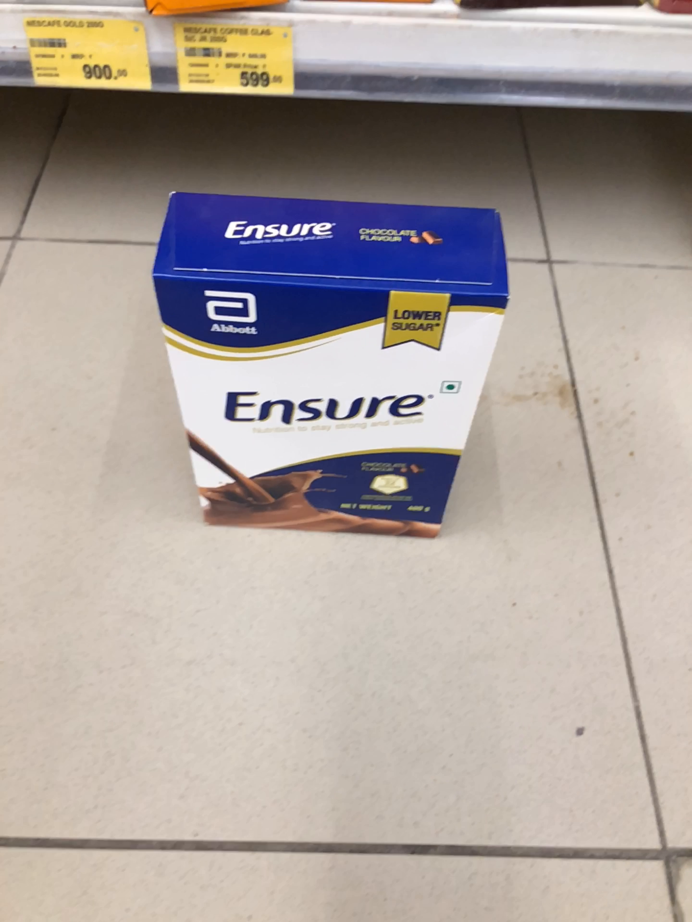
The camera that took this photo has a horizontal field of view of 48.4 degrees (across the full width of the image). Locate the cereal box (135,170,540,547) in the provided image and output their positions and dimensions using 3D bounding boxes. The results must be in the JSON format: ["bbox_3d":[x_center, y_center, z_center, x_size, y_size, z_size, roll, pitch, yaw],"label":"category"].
[{"bbox_3d":[-0.003,-0.034,0.356,0.140,0.179,0.060,4,56,1],"label":"cereal box"}]
